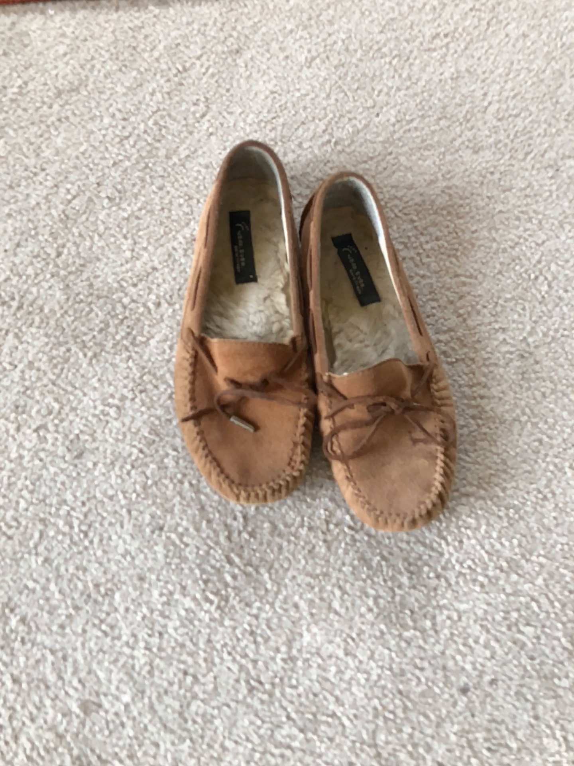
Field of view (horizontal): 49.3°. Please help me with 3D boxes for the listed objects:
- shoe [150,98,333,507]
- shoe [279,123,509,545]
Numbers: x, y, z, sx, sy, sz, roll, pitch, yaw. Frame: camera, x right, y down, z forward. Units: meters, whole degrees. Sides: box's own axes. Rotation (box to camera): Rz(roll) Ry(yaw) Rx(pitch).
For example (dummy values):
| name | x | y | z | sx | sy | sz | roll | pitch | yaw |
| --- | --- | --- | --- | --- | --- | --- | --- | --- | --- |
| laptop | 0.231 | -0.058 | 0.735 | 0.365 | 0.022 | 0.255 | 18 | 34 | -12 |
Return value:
| name | x | y | z | sx | sy | sz | roll | pitch | yaw |
| --- | --- | --- | --- | --- | --- | --- | --- | --- | --- |
| shoe | -0.029 | -0.055 | 0.428 | 0.105 | 0.068 | 0.270 | 1 | 75 | -4 |
| shoe | 0.062 | -0.036 | 0.429 | 0.098 | 0.068 | 0.274 | -6 | 75 | -6 |
